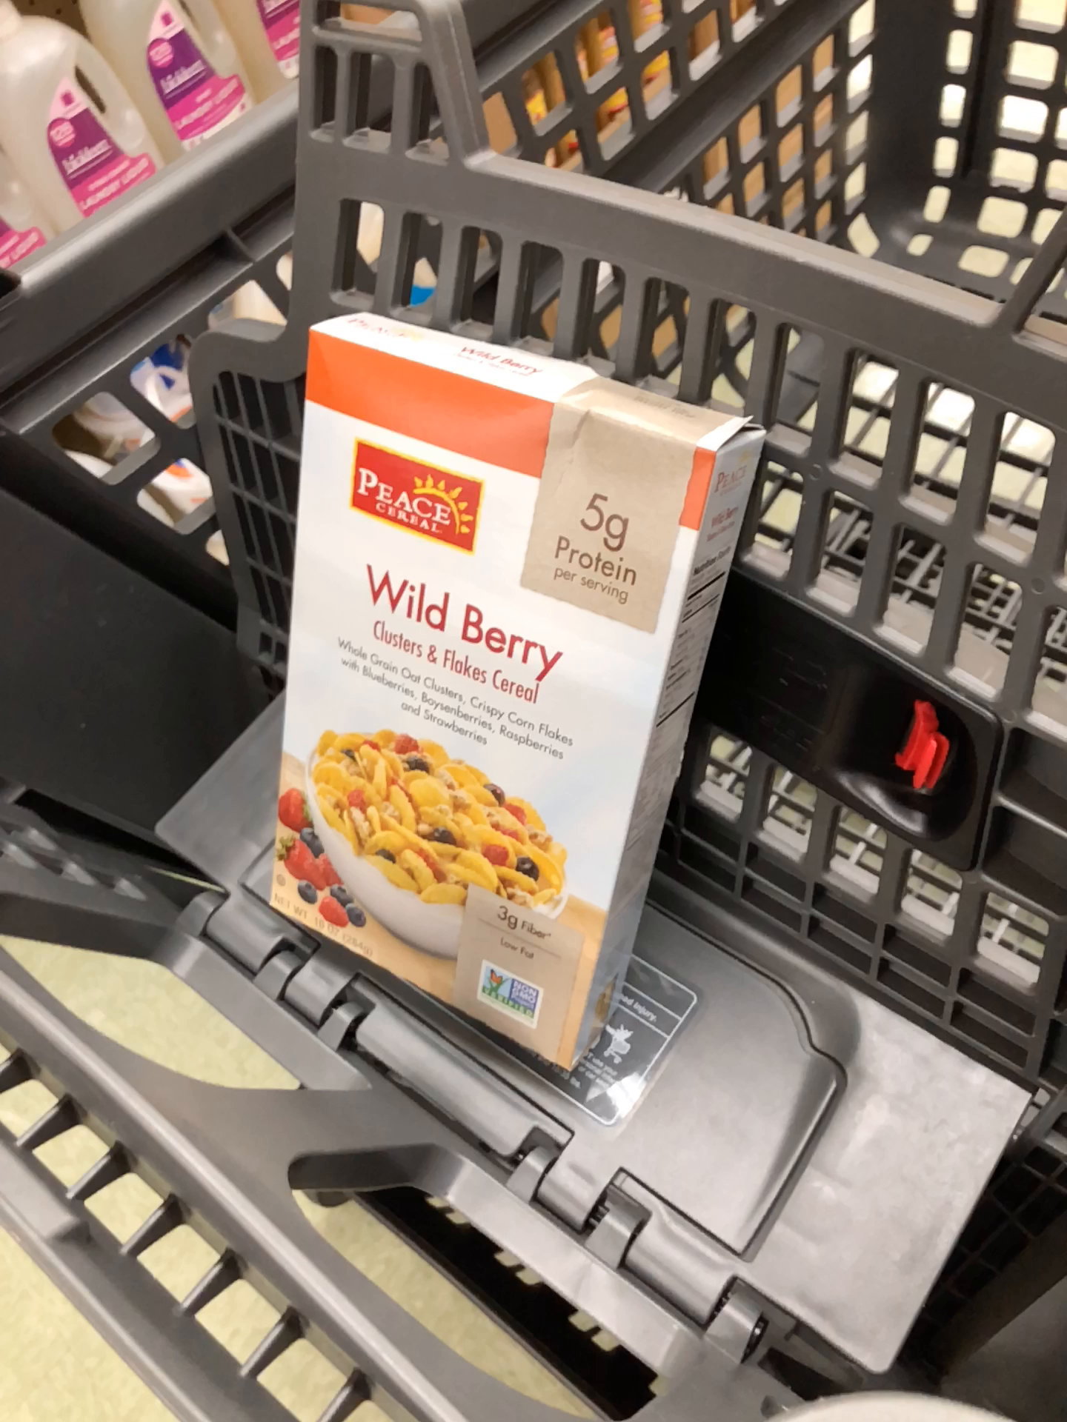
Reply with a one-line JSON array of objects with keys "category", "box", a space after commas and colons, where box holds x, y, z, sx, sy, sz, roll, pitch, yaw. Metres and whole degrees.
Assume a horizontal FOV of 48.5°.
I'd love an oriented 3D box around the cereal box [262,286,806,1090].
[{"category": "cereal box", "box": [-0.015, -0.008, 0.448, 0.160, 0.260, 0.060, 23, 29, 24]}]
